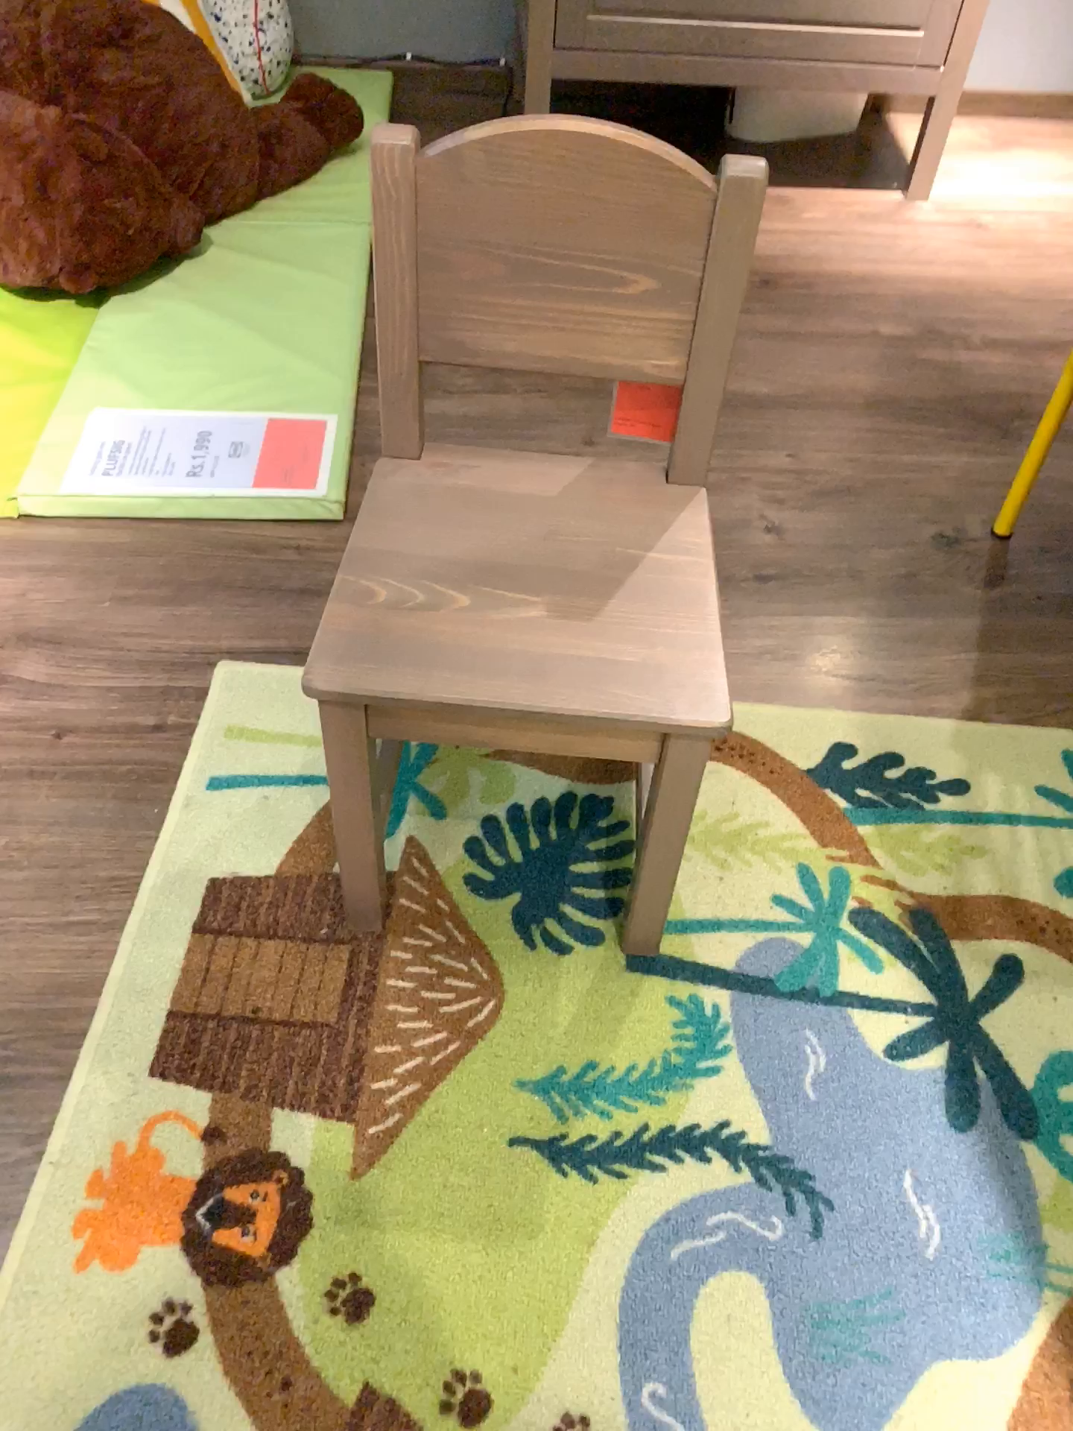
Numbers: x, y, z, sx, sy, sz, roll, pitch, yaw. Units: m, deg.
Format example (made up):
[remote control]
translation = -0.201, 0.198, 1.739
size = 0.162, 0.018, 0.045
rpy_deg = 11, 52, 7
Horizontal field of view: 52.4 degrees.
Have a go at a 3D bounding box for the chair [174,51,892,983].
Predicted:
[chair]
translation = -0.006, -0.107, 0.729
size = 0.290, 0.488, 0.331
rpy_deg = 5, 46, 0
